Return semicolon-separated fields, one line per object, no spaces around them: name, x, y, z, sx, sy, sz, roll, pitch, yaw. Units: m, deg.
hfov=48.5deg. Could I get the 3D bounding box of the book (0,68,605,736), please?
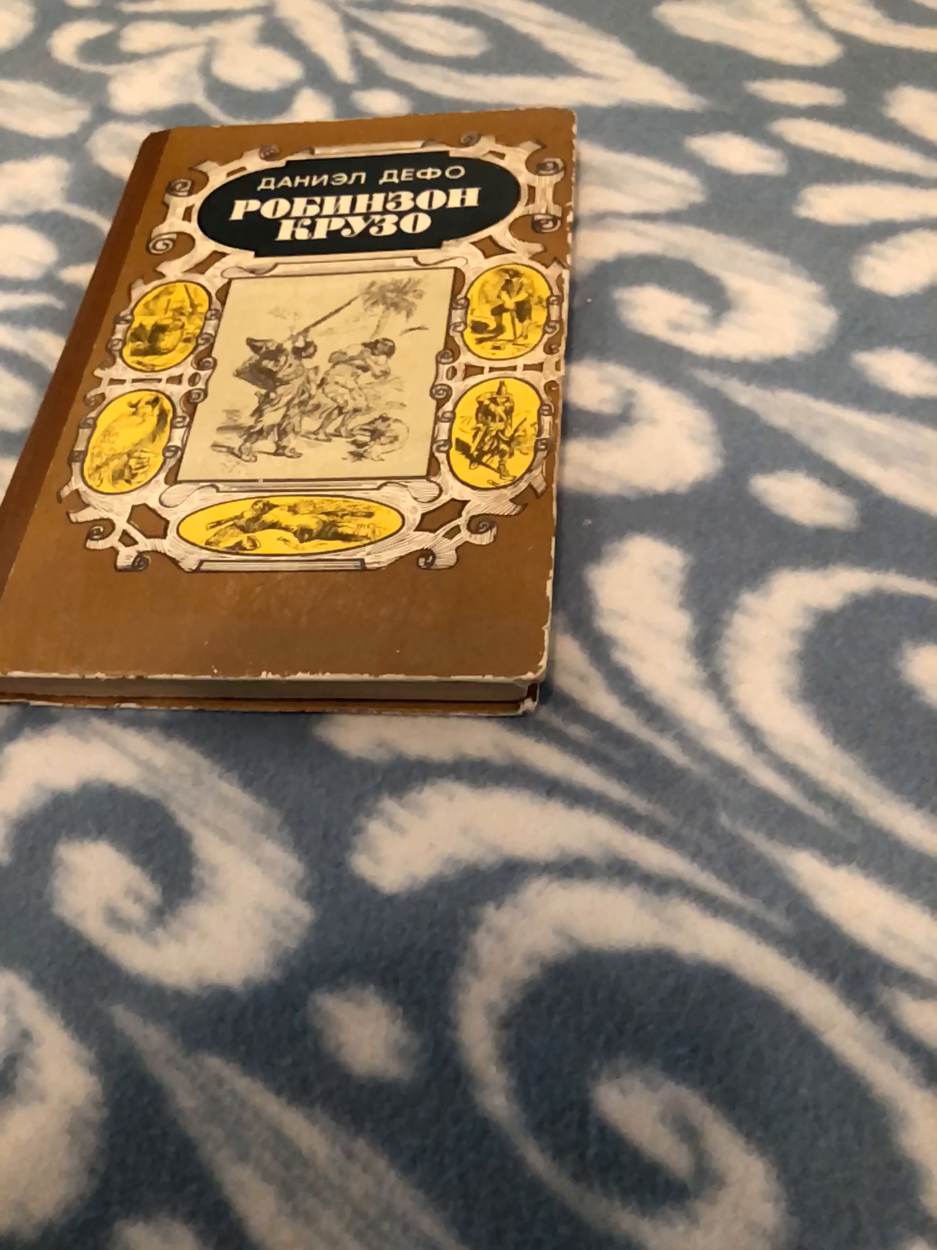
book;-0.051;-0.083;0.321;0.178;0.024;0.243;1;58;9
